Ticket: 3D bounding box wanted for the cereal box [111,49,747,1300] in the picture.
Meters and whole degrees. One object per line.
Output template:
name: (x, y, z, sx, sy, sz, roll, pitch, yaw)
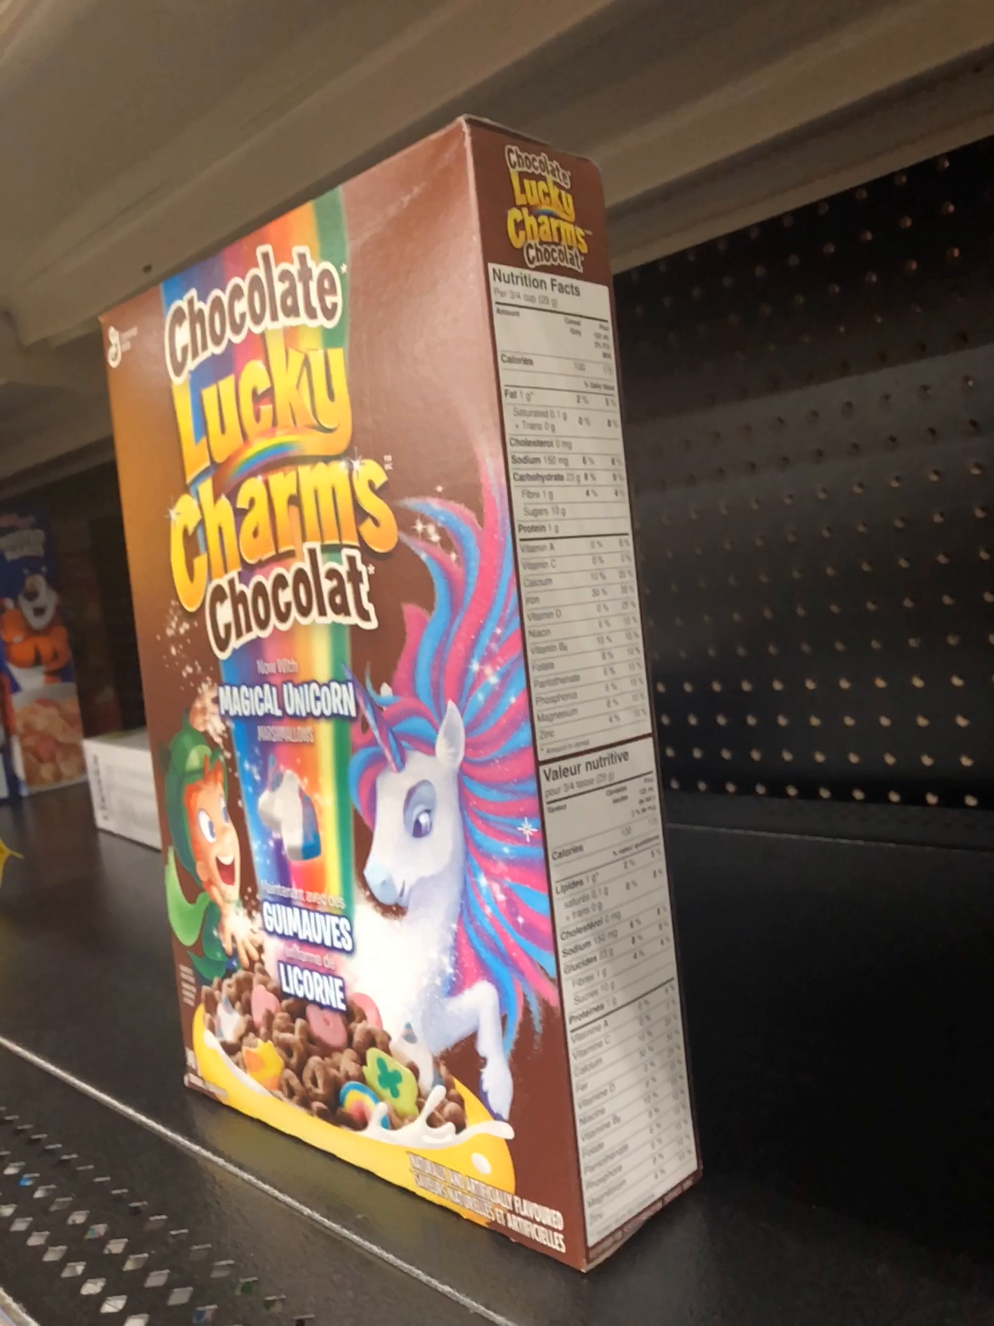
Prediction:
cereal box: (-0.035, 0.005, 0.346, 0.060, 0.290, 0.200, -7, 3, -43)
